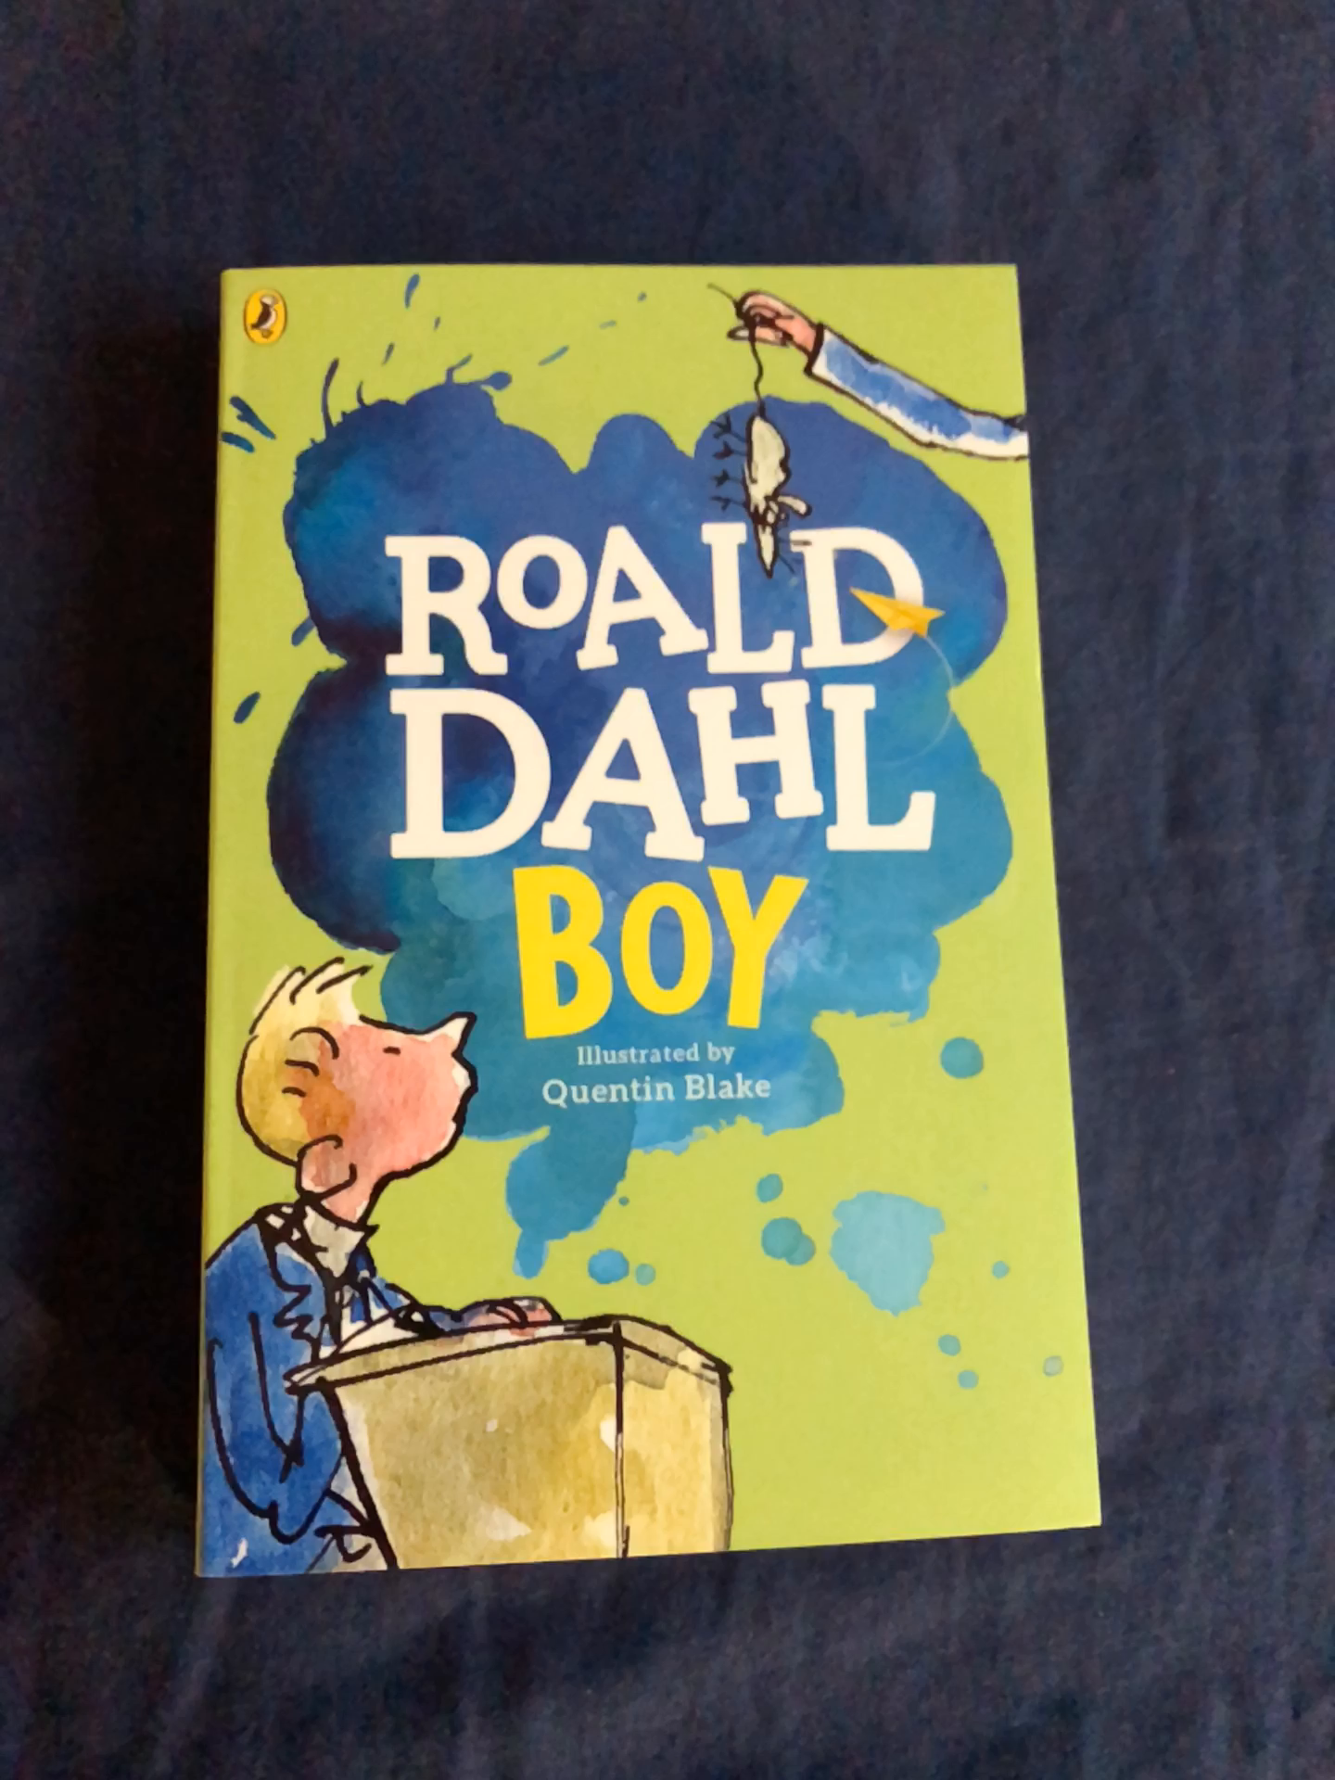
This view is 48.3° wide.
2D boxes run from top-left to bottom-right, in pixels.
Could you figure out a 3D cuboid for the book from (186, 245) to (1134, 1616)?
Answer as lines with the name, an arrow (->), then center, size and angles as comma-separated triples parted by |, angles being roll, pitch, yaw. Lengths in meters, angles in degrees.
book -> -0.003, 0.001, 0.222 | 0.125, 0.027, 0.189 | -1, 82, -5
